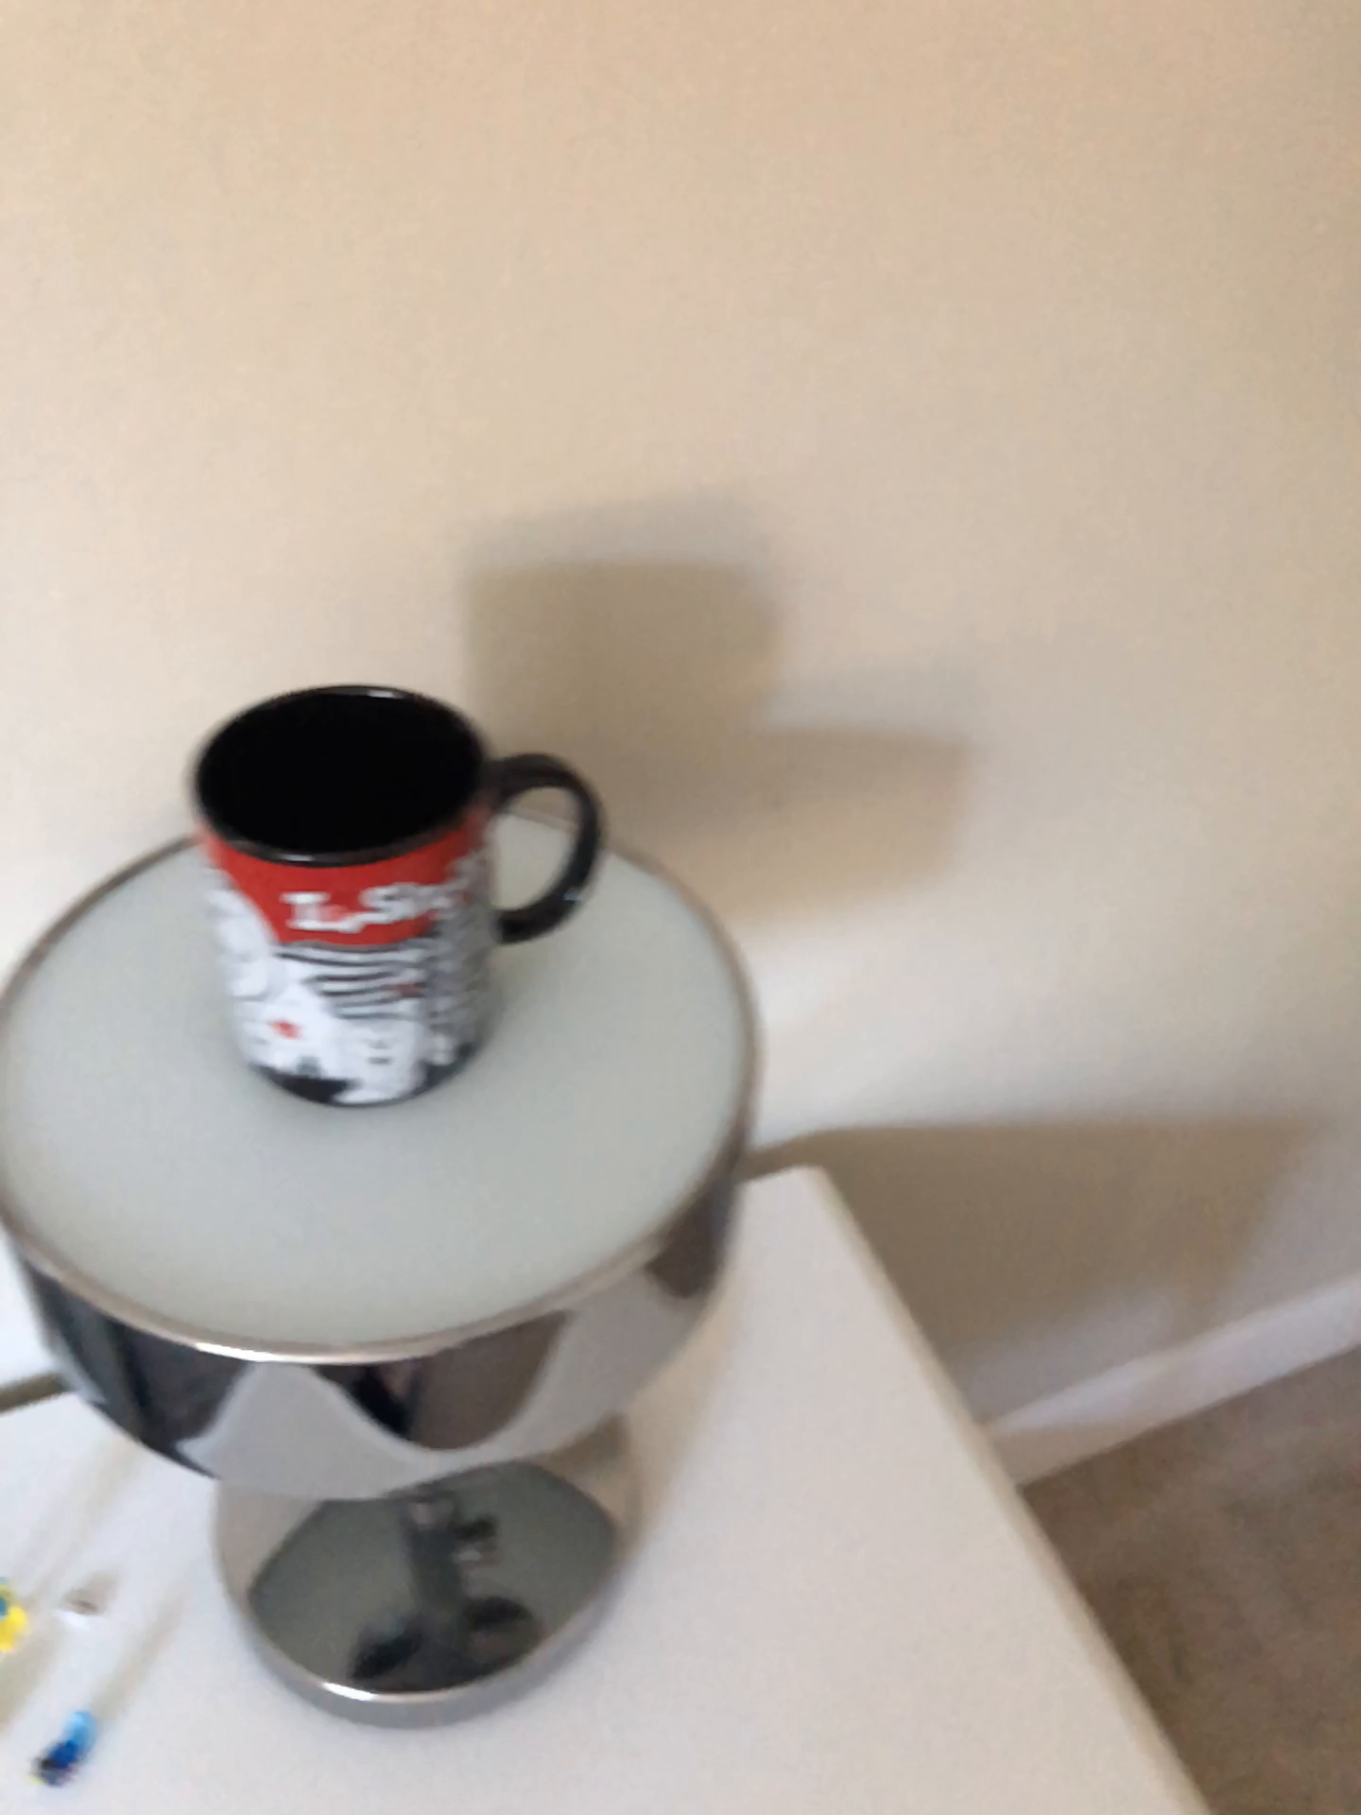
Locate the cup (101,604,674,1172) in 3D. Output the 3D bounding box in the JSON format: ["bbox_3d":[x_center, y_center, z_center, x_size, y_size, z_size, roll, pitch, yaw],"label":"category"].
[{"bbox_3d":[-0.083,-0.011,0.457,0.130,0.100,0.090,-23,47,-28],"label":"cup"}]
